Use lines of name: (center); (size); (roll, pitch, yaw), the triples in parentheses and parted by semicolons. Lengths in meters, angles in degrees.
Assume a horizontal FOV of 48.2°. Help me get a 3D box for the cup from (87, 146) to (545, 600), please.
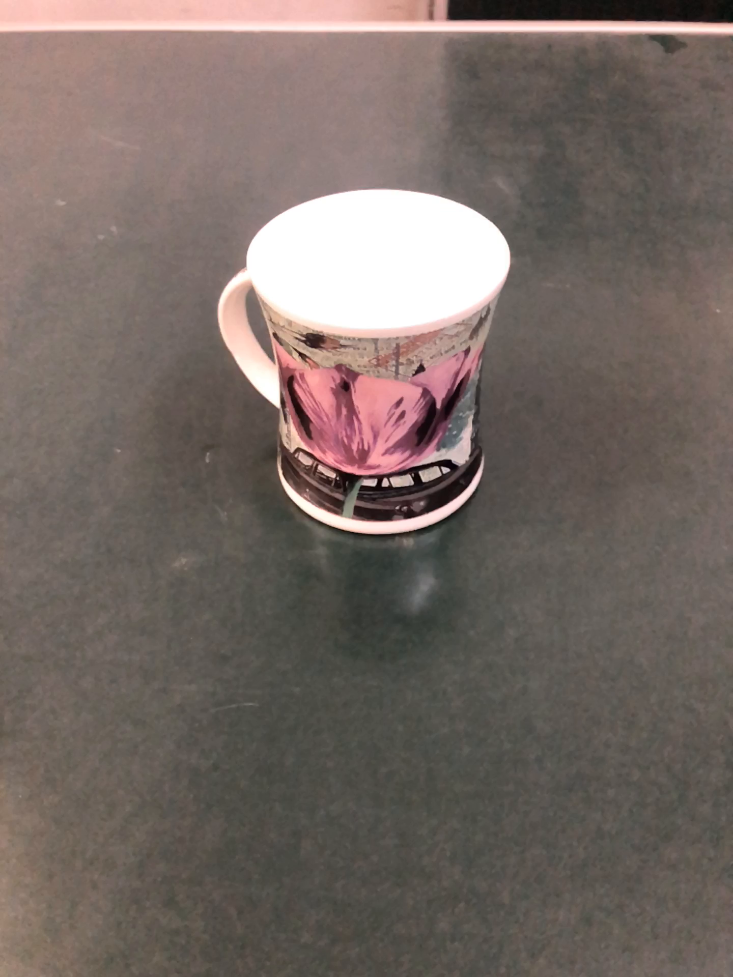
cup: (-0.012, -0.044, 0.303); (0.120, 0.110, 0.090); (17, 49, 17)
